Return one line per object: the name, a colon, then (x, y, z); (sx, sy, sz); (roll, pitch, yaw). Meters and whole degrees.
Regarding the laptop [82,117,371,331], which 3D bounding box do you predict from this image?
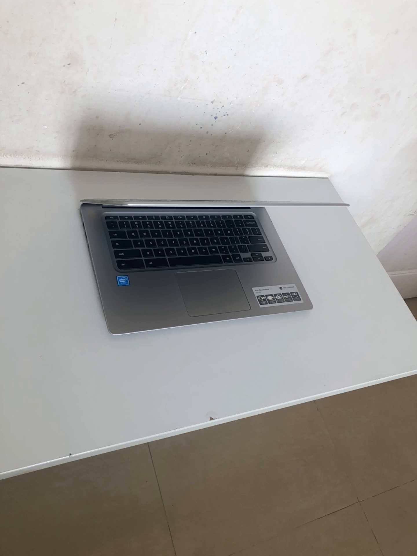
laptop: (0.014, -0.079, 0.653); (0.327, 0.155, 0.222); (-4, 57, -27)
